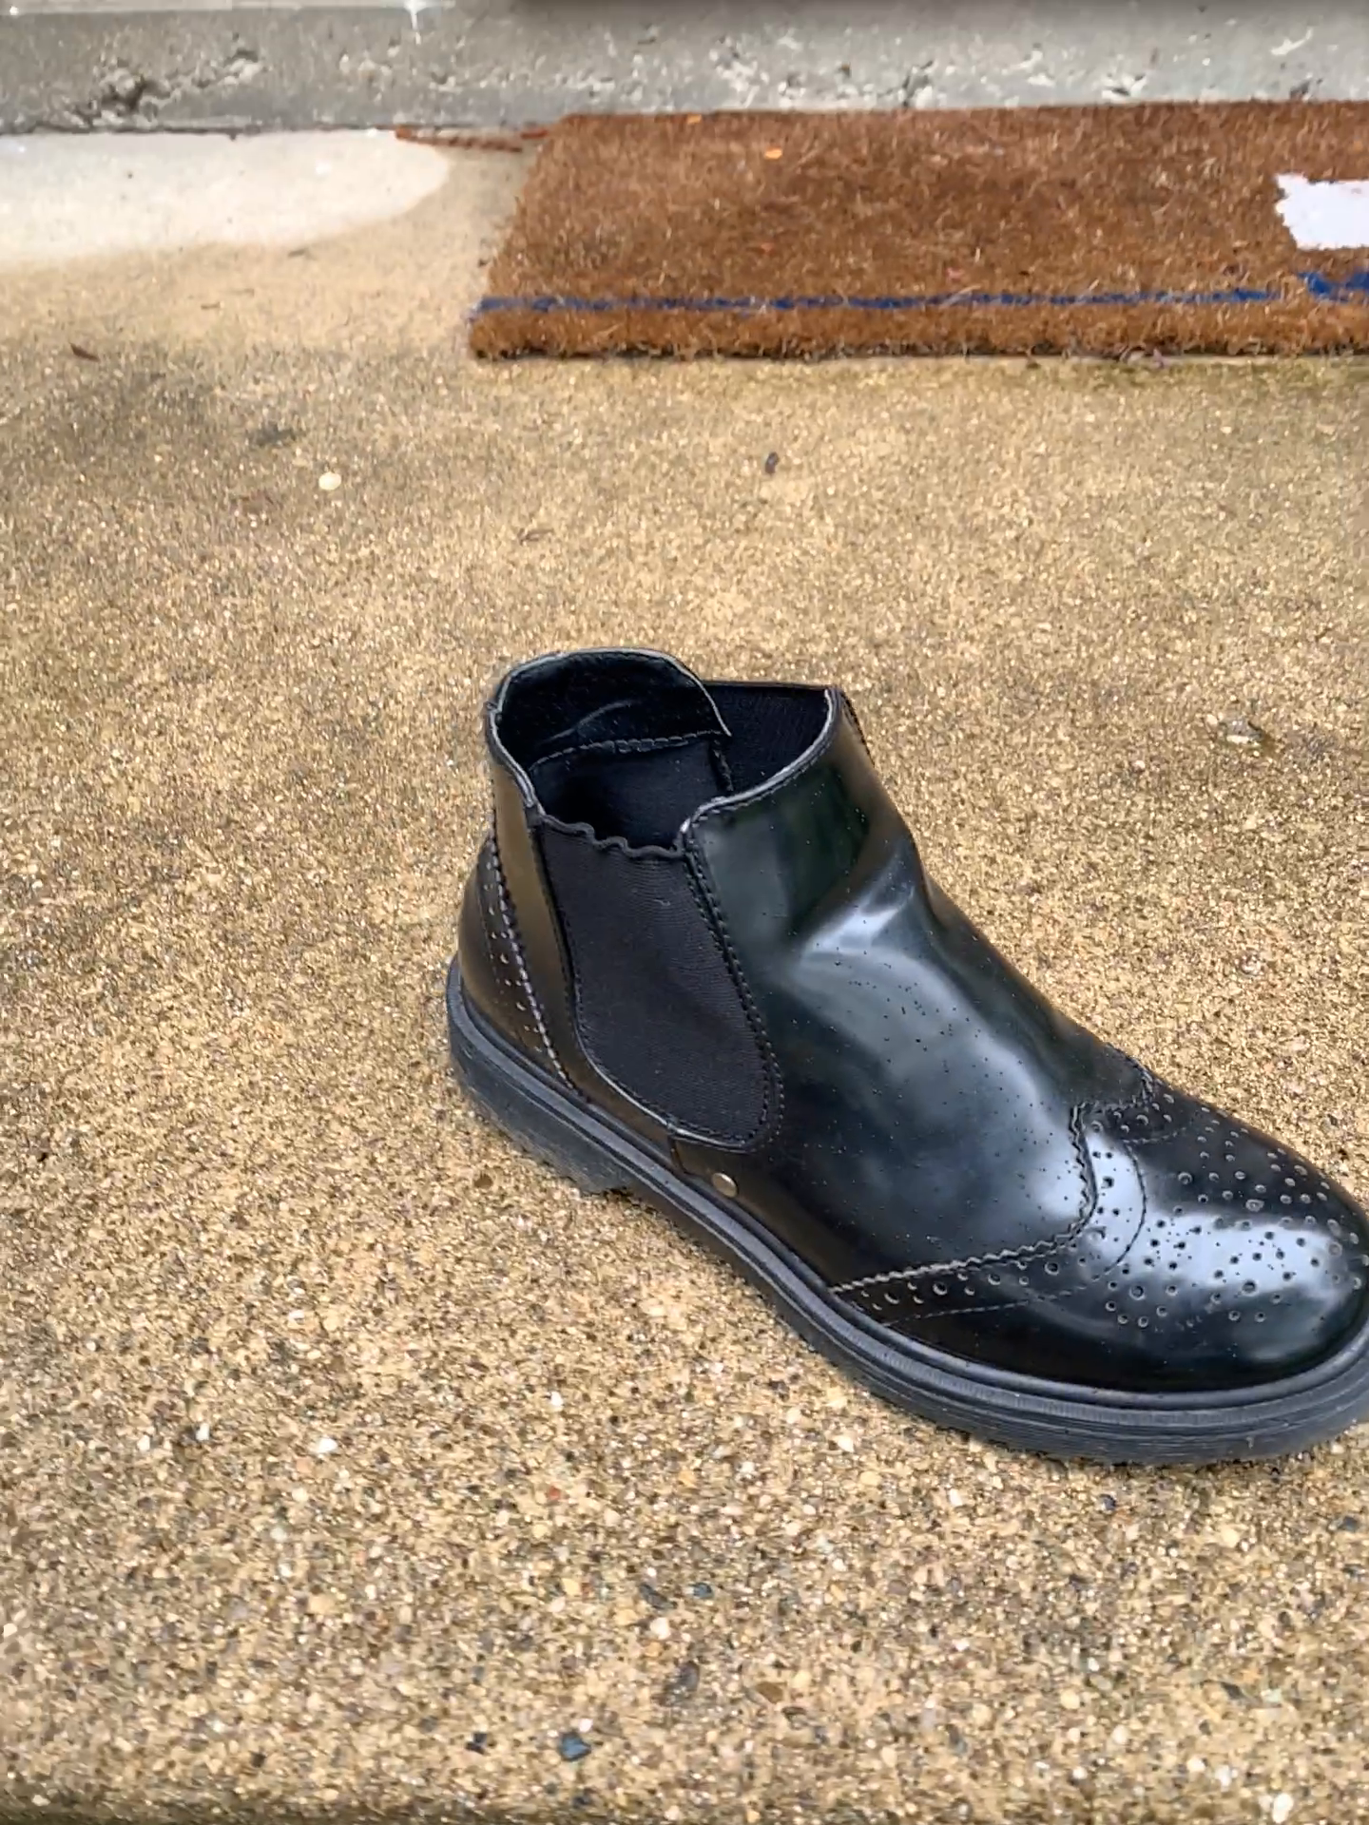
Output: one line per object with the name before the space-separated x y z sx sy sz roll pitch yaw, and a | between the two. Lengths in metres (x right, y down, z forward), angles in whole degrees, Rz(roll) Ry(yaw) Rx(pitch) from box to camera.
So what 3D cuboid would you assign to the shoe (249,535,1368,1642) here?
shoe | 0.048 0.029 0.352 0.267 0.148 0.118 21 47 22
